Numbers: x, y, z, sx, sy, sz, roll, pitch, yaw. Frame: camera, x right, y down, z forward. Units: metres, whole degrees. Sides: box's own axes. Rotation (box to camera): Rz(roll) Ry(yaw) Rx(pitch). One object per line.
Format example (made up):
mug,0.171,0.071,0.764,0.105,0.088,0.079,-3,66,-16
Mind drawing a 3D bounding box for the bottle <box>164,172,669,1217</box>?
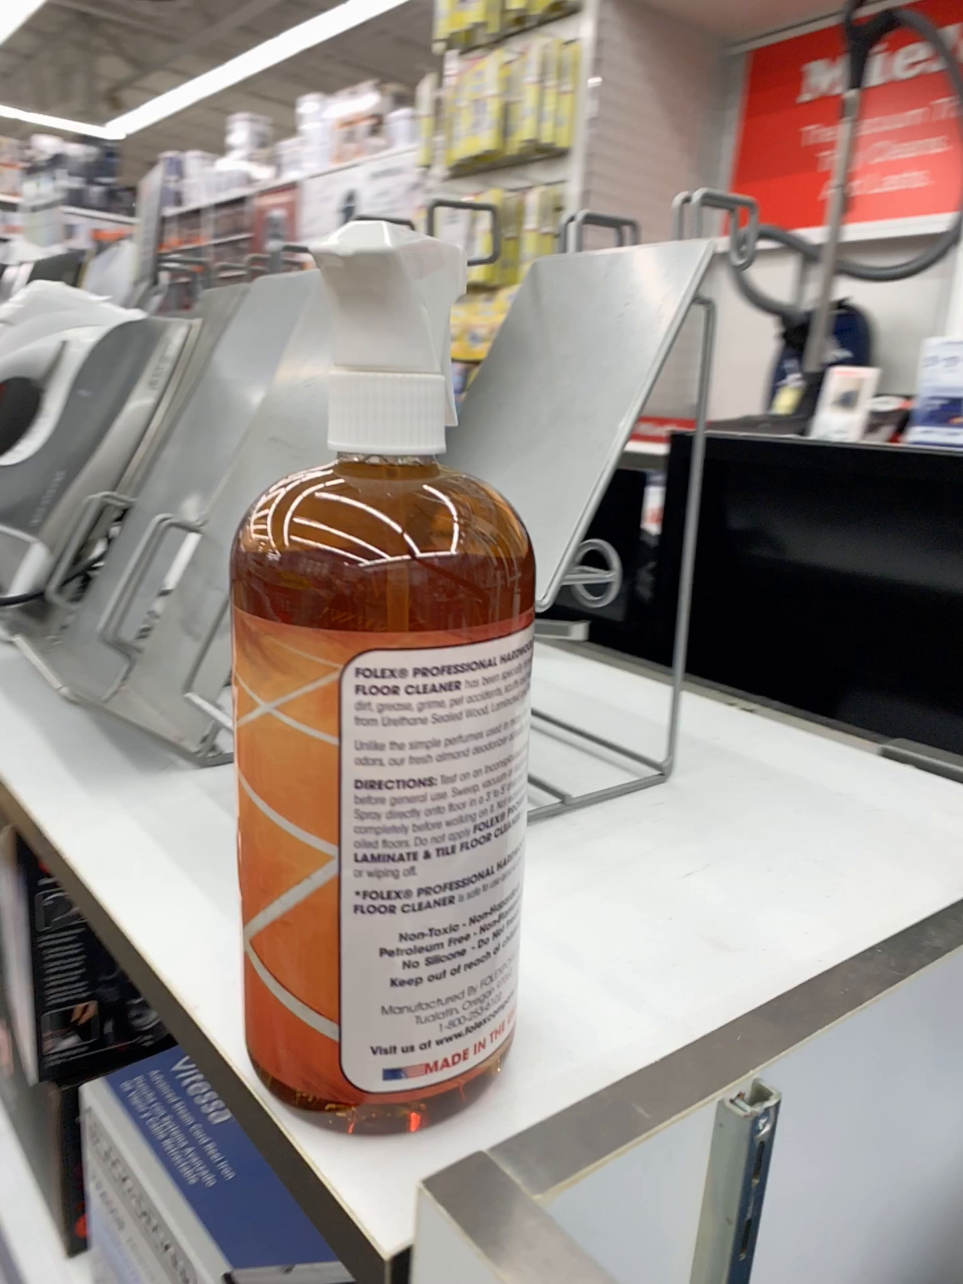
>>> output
bottle,-0.024,0.011,0.293,0.090,0.249,0.100,15,17,41
